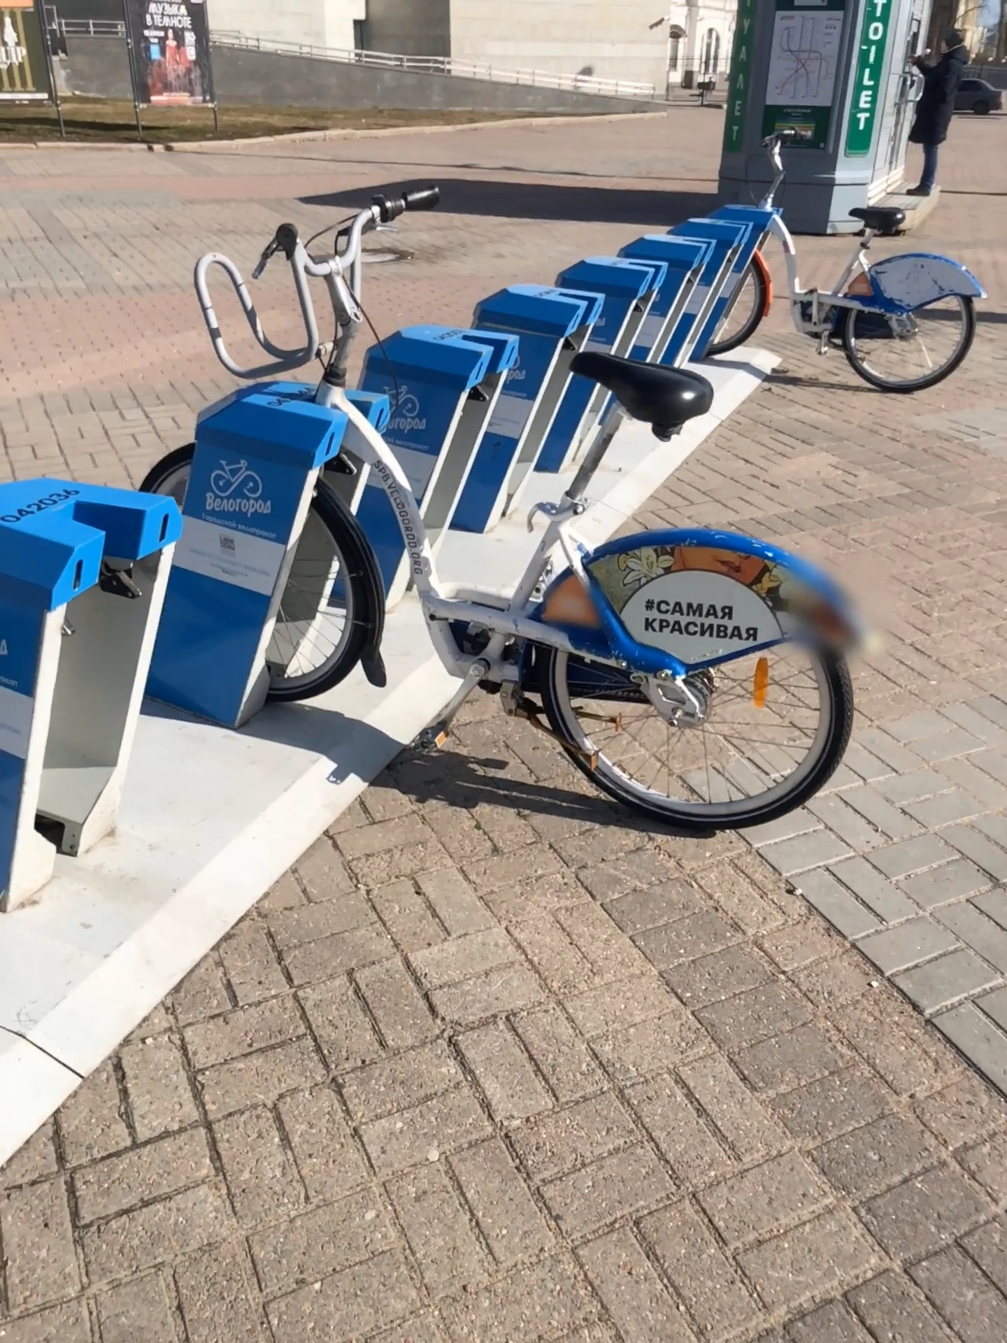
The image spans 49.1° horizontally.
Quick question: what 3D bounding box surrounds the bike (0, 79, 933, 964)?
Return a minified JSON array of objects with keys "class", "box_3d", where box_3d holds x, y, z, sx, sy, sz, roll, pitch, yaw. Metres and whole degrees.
[{"class":"bike","box_3d":[-0.088,-0.377,2.216,1.628,1.204,0.598,16,31,17]}]
